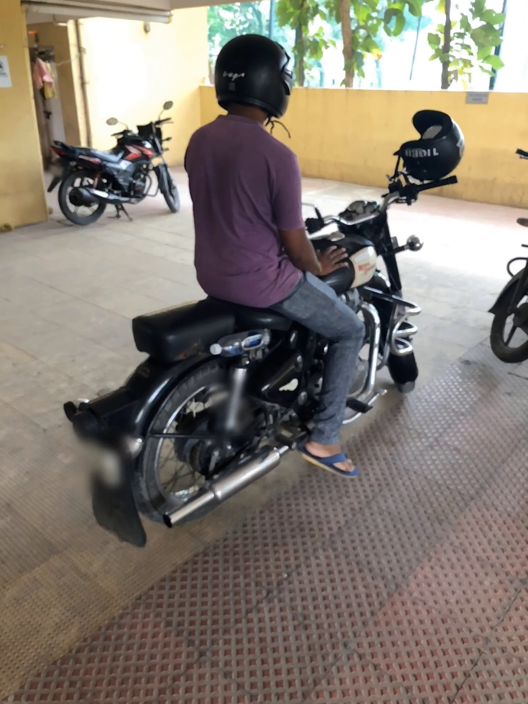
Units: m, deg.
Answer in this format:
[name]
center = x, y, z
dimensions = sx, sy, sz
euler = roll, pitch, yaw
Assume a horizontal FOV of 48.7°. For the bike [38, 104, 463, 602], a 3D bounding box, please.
[bike]
center = 0.086, -0.254, 2.368
dimensions = 0.727, 1.096, 1.768
euler = 17, 35, 32
